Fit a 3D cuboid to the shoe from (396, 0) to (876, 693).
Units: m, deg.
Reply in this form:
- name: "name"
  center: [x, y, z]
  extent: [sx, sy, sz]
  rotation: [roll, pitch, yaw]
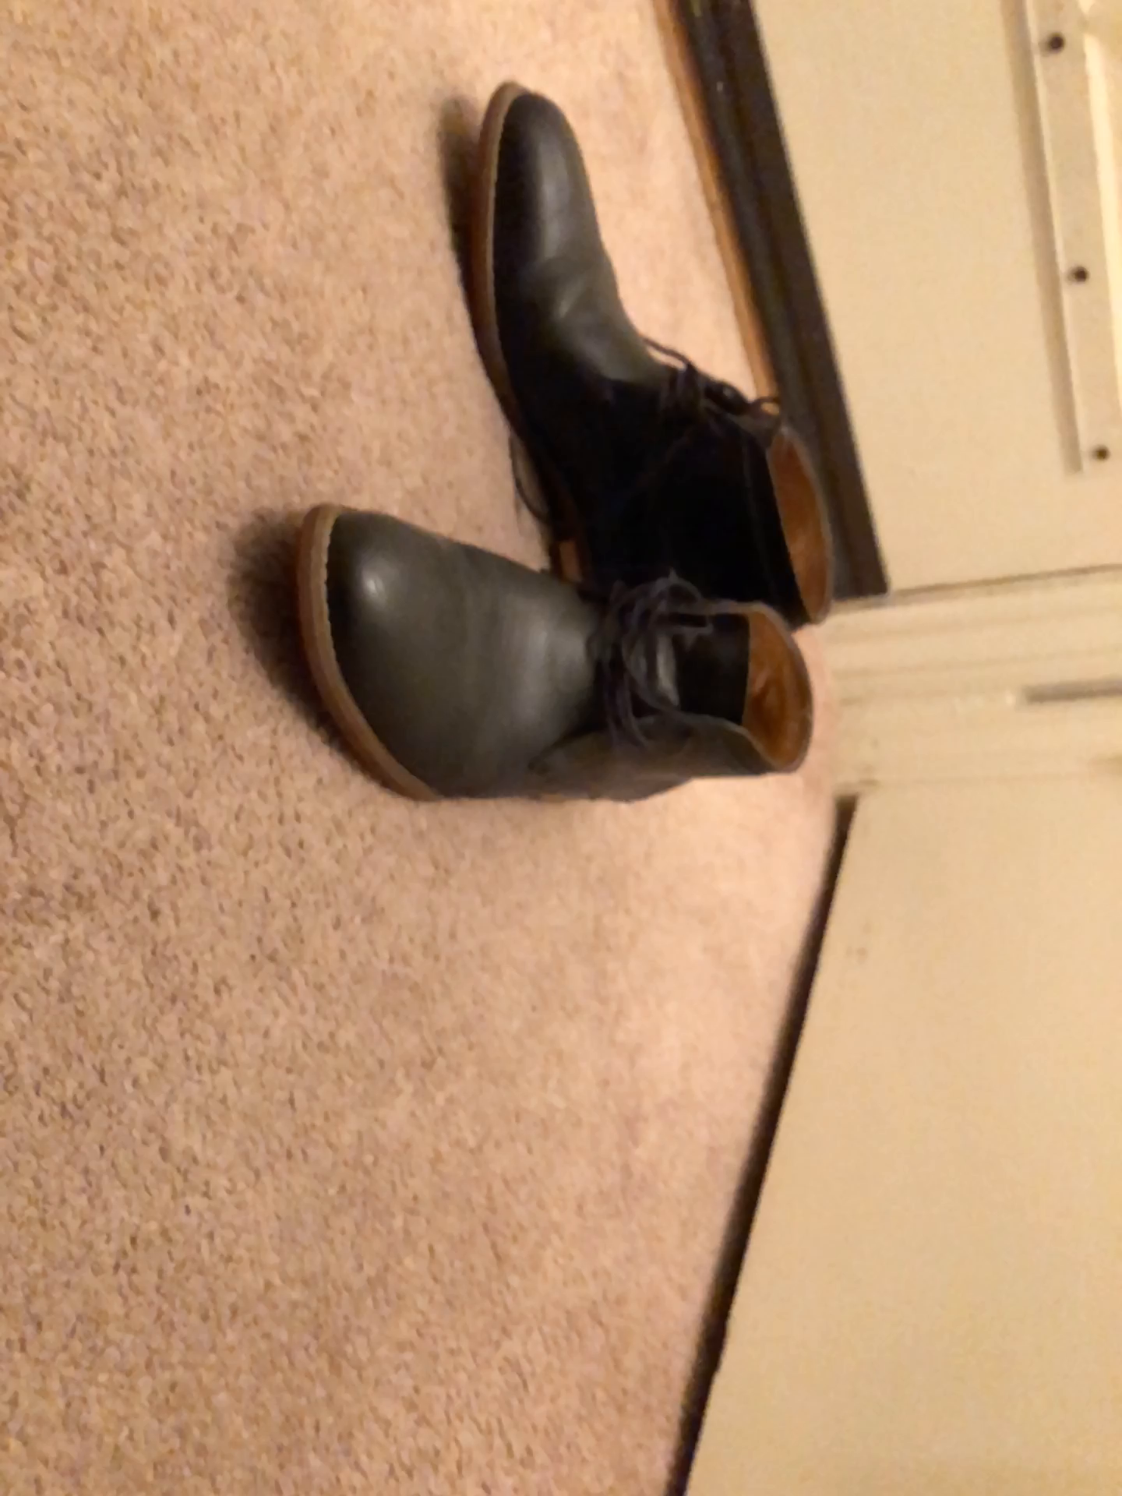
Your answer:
- name: "shoe"
  center: [0.055, -0.191, 0.638]
  extent: [0.117, 0.135, 0.302]
  rotation: [-60, 137, -48]

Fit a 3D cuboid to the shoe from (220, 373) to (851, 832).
- name: "shoe"
  center: [0.015, -0.033, 0.532]
  extent: [0.304, 0.135, 0.116]
  rotation: [14, 74, -62]
